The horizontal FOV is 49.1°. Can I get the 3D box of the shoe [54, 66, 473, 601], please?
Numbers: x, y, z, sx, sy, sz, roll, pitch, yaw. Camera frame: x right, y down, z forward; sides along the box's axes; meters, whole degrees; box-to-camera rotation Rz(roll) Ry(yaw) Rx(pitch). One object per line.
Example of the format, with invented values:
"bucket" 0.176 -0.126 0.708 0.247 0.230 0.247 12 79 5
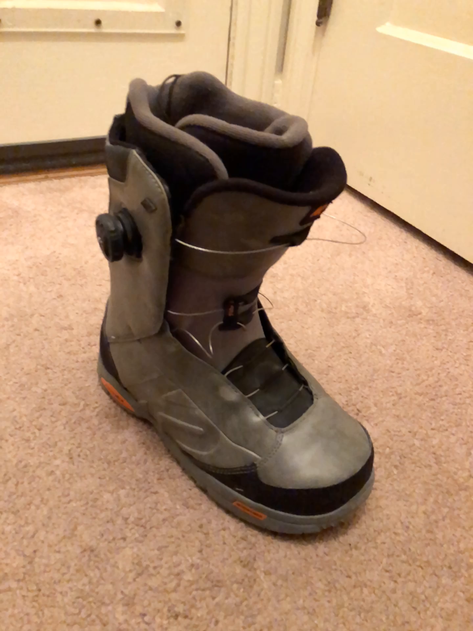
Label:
"shoe" 0.011 -0.003 0.396 0.274 0.281 0.138 33 44 32
